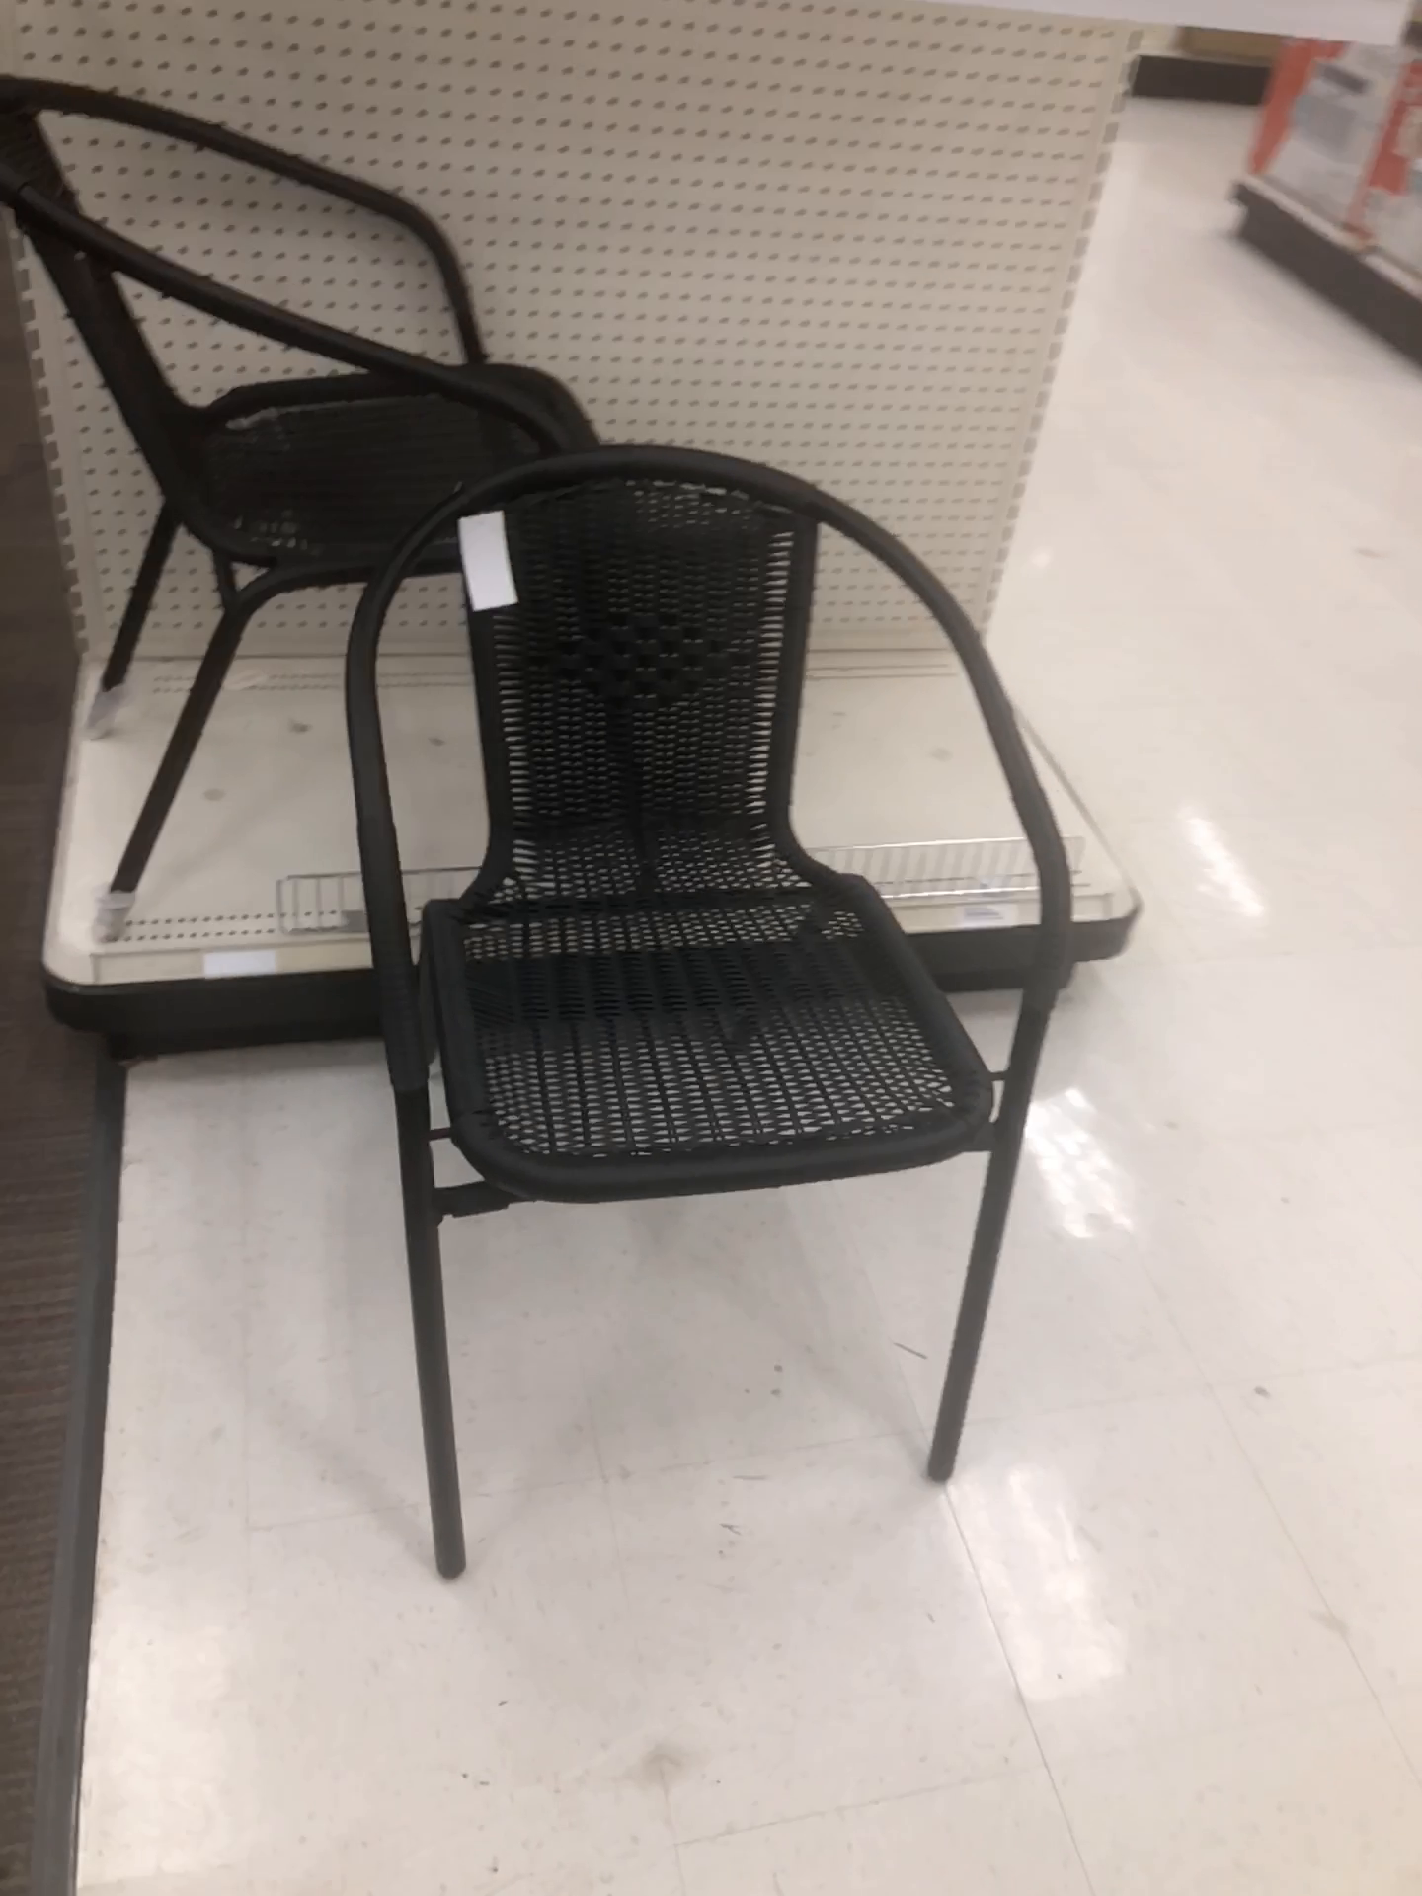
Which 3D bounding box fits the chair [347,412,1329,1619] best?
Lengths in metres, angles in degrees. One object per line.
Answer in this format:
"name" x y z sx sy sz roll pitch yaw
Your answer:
"chair" -0.010 0.033 1.291 0.530 0.696 0.643 -2 40 -14
